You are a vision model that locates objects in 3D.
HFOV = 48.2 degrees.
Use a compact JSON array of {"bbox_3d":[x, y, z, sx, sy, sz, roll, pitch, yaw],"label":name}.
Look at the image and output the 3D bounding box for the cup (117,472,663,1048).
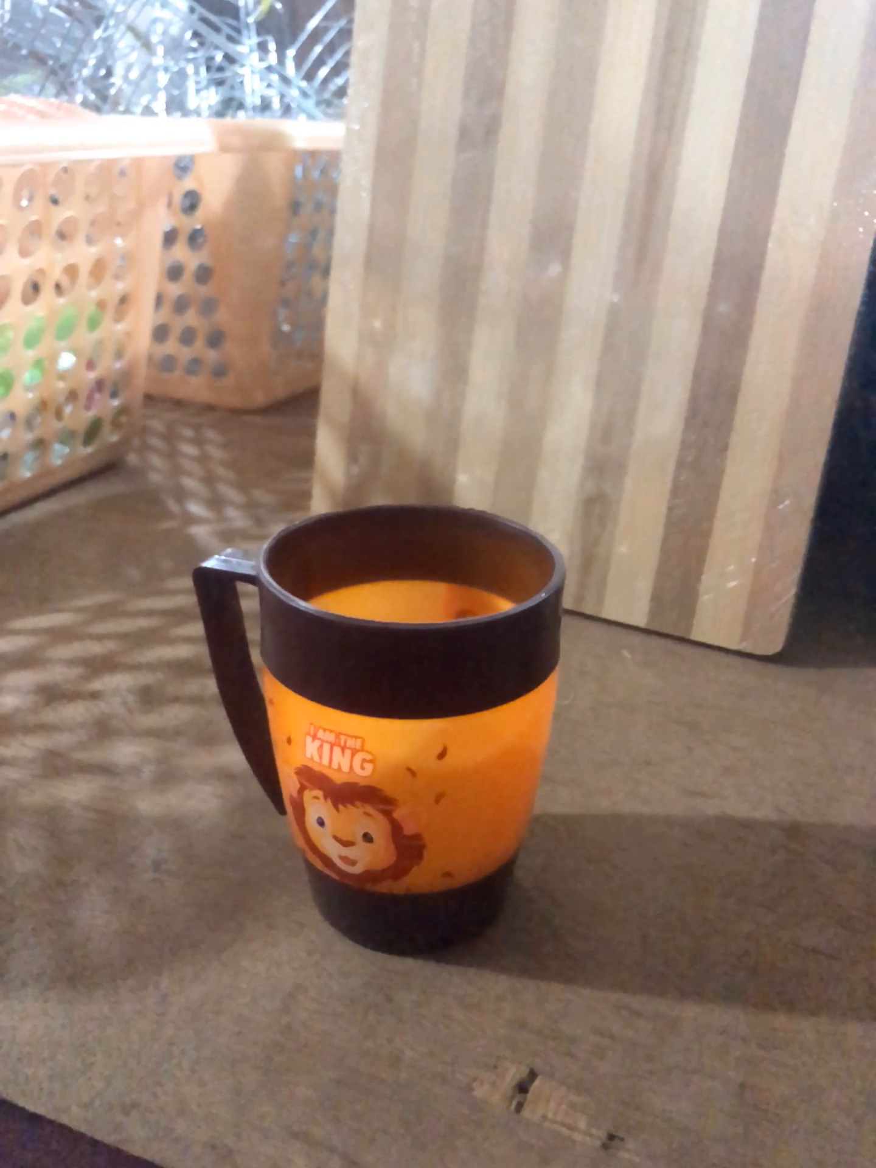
[{"bbox_3d":[-0.010,0.033,0.229,0.100,0.090,0.060,13,28,25],"label":"cup"}]
